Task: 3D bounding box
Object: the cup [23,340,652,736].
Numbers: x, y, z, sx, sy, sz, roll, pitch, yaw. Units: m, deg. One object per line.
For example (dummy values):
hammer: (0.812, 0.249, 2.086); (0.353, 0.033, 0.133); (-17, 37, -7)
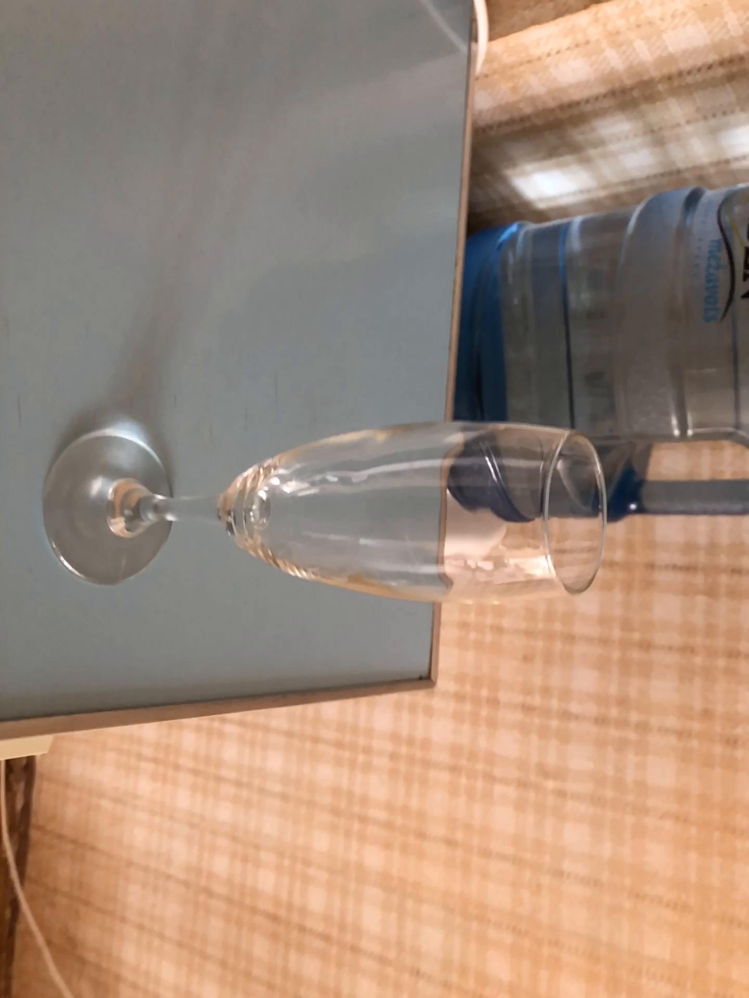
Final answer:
cup: (-0.020, 0.009, 0.281); (0.091, 0.199, 0.090); (1, 89, -55)
